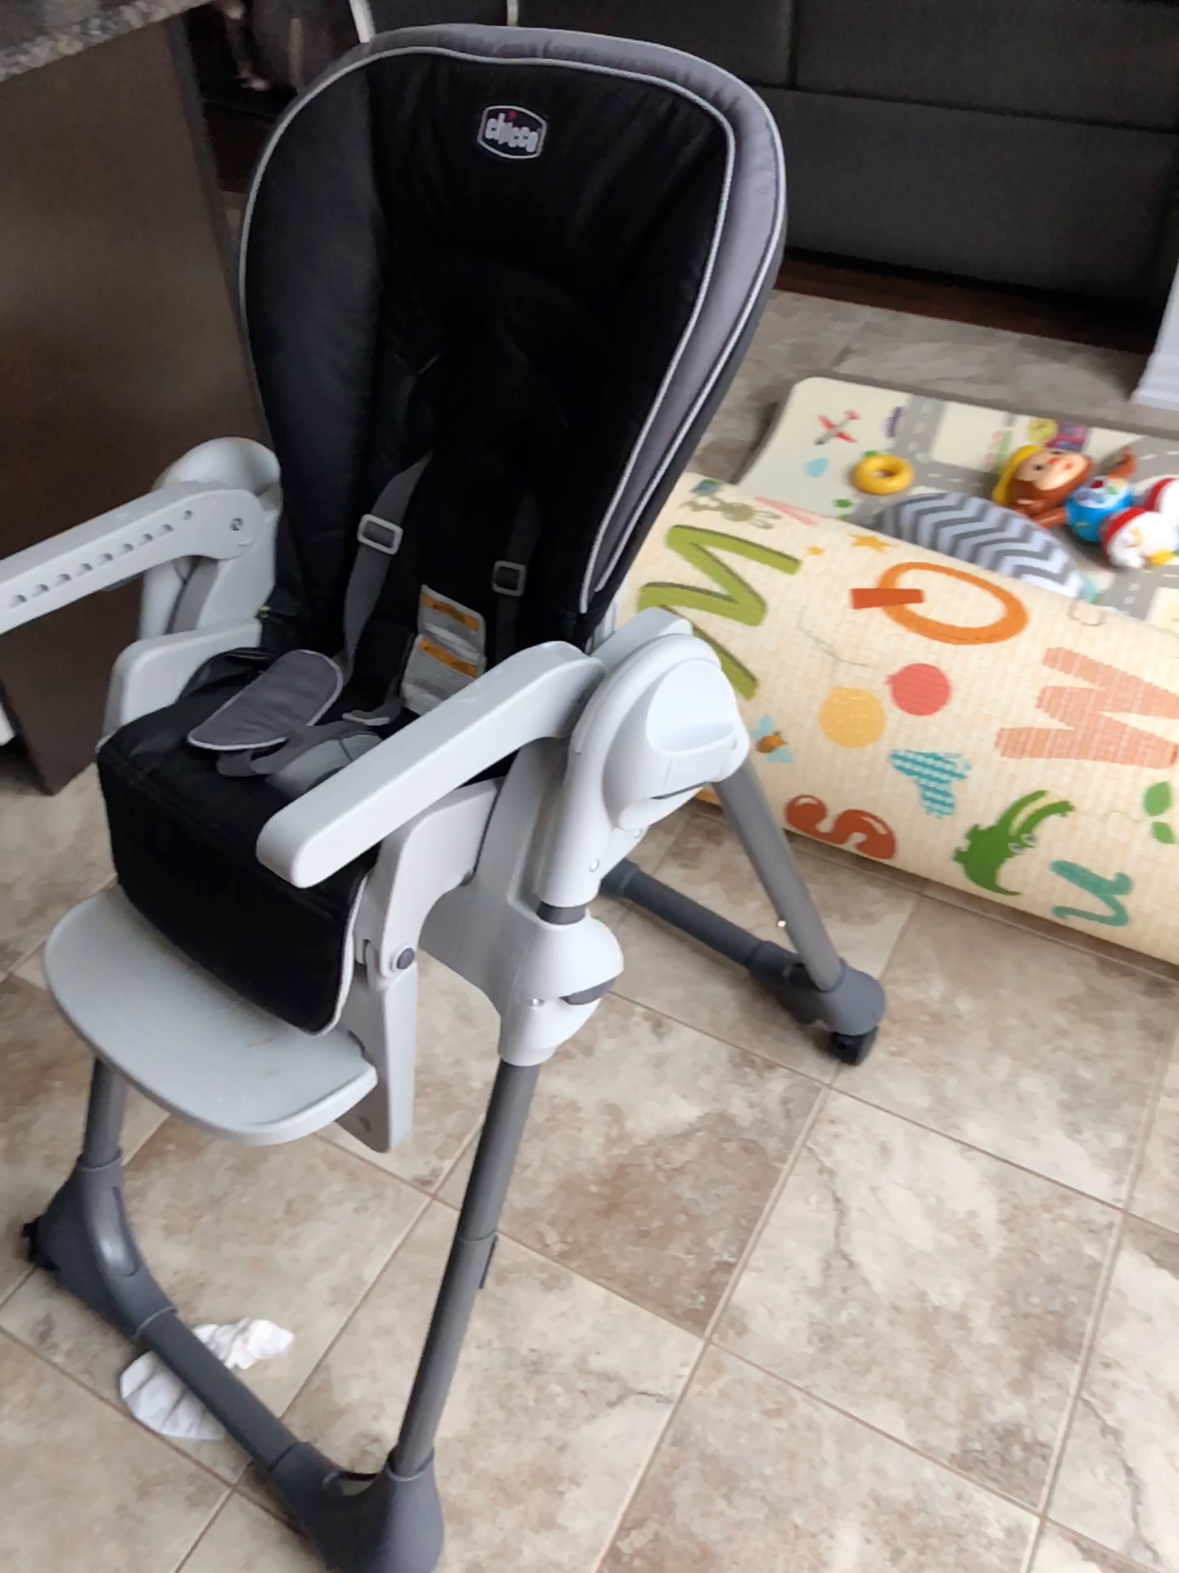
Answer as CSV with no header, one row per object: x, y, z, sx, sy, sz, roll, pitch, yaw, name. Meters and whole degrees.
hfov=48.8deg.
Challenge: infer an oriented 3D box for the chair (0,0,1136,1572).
-0.154,0.007,1.110,0.652,0.996,0.881,28,52,29,chair
